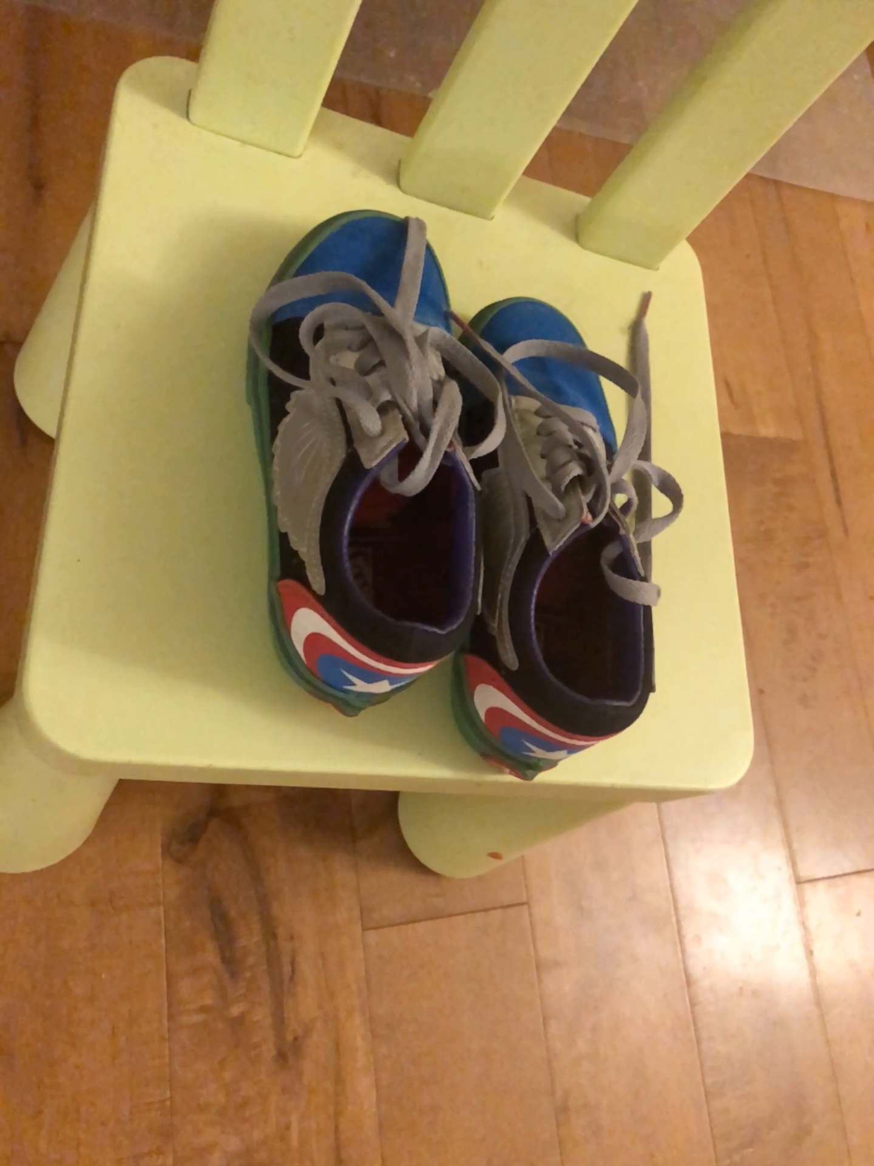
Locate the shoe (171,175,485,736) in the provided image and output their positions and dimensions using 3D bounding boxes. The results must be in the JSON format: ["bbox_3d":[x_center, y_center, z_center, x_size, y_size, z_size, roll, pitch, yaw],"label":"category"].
[{"bbox_3d":[-0.041,-0.044,0.381,0.090,0.080,0.190,10,69,-22],"label":"shoe"}]

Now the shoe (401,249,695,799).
[{"bbox_3d":[0.041,-0.019,0.375,0.080,0.070,0.190,10,69,-22],"label":"shoe"}]
